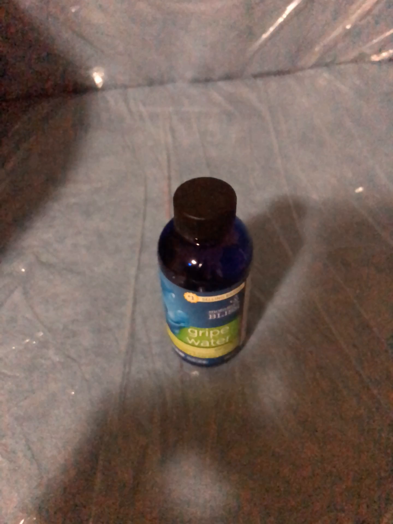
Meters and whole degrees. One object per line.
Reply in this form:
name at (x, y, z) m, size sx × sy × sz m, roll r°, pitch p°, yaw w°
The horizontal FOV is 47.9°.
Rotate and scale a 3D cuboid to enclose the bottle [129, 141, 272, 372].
bottle at (0.005, 0.005, 0.229) m, size 0.050 × 0.120 × 0.050 m, roll -1°, pitch 53°, yaw 1°
